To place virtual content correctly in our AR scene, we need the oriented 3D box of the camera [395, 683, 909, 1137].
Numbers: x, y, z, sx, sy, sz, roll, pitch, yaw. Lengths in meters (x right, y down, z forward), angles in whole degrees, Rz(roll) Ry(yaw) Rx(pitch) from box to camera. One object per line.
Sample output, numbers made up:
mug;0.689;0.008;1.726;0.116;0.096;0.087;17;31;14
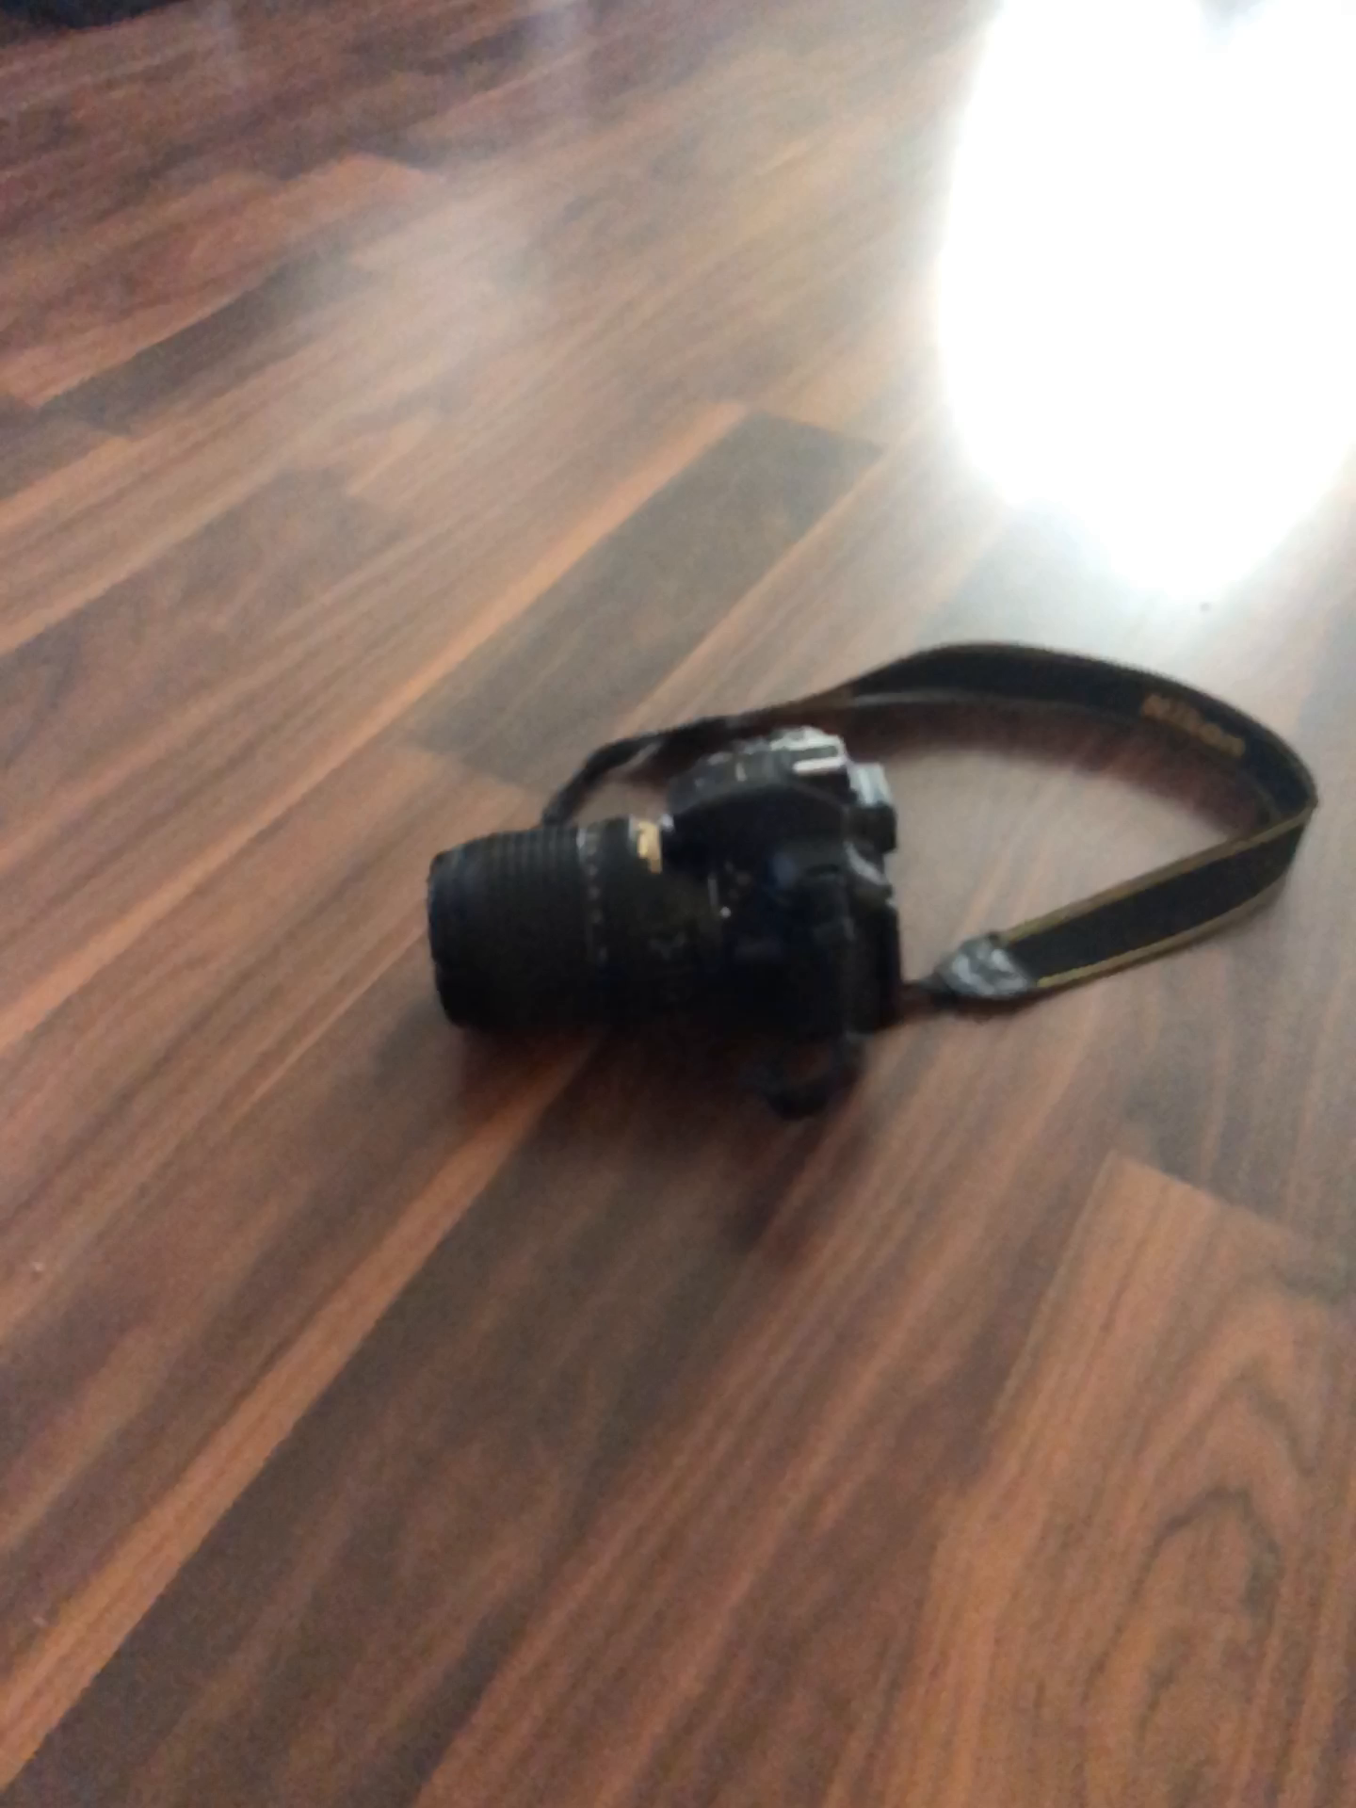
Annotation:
camera;-0.011;0.003;0.614;0.180;0.130;0.110;-5;45;-2
